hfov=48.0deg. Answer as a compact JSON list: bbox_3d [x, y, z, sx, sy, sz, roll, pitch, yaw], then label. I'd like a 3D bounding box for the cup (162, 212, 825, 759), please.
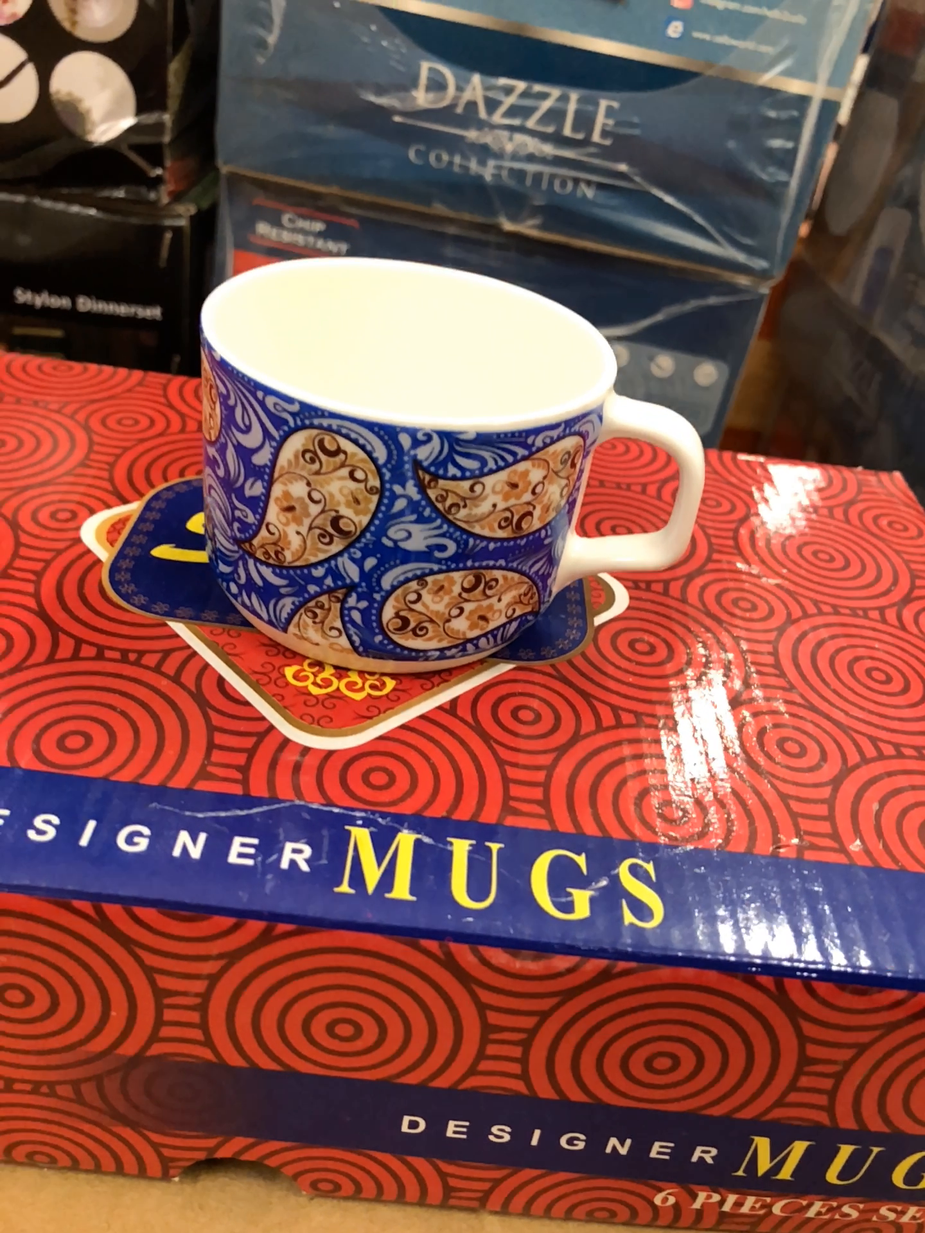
[{"bbox_3d":[0.005,-0.029,0.199,0.100,0.060,0.071,13,33,2],"label":"cup"}]
